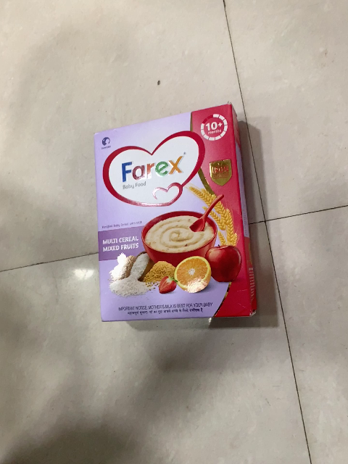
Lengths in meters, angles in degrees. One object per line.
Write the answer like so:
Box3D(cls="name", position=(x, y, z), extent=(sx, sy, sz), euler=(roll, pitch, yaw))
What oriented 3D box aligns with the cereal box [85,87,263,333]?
Box3D(cls="cereal box", position=(-0.001, -0.015, 0.356), extent=(0.150, 0.060, 0.210), euler=(-6, 83, 16))
